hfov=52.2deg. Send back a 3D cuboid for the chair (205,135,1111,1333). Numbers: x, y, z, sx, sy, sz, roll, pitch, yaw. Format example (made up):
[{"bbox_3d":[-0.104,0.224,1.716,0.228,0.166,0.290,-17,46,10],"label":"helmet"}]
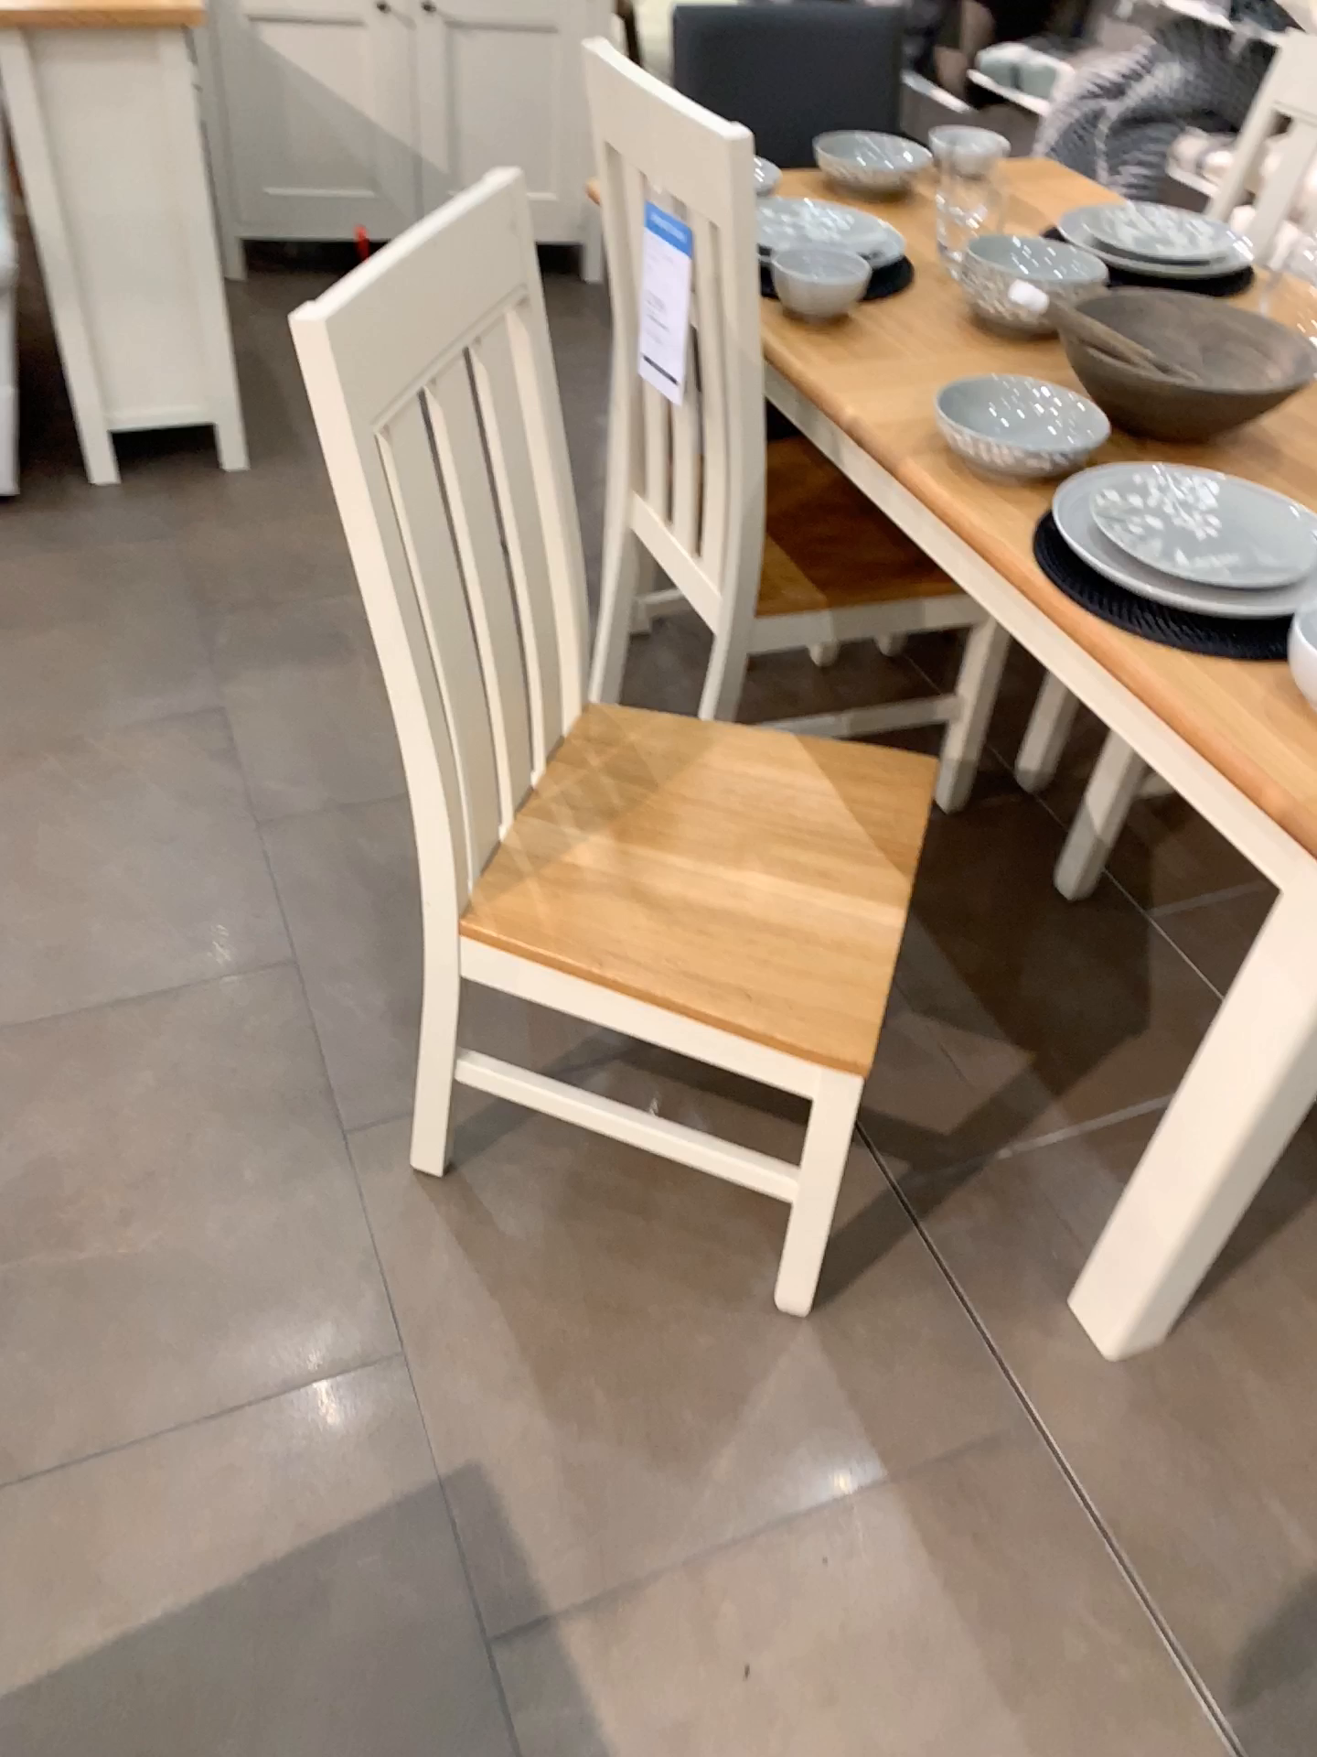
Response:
[{"bbox_3d":[0.014,-0.103,1.292,0.546,0.924,0.506,14,43,10],"label":"chair"}]

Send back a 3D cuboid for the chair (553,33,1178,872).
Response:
[{"bbox_3d":[0.189,-0.554,1.818,0.536,0.924,0.476,-11,44,-17],"label":"chair"}]
